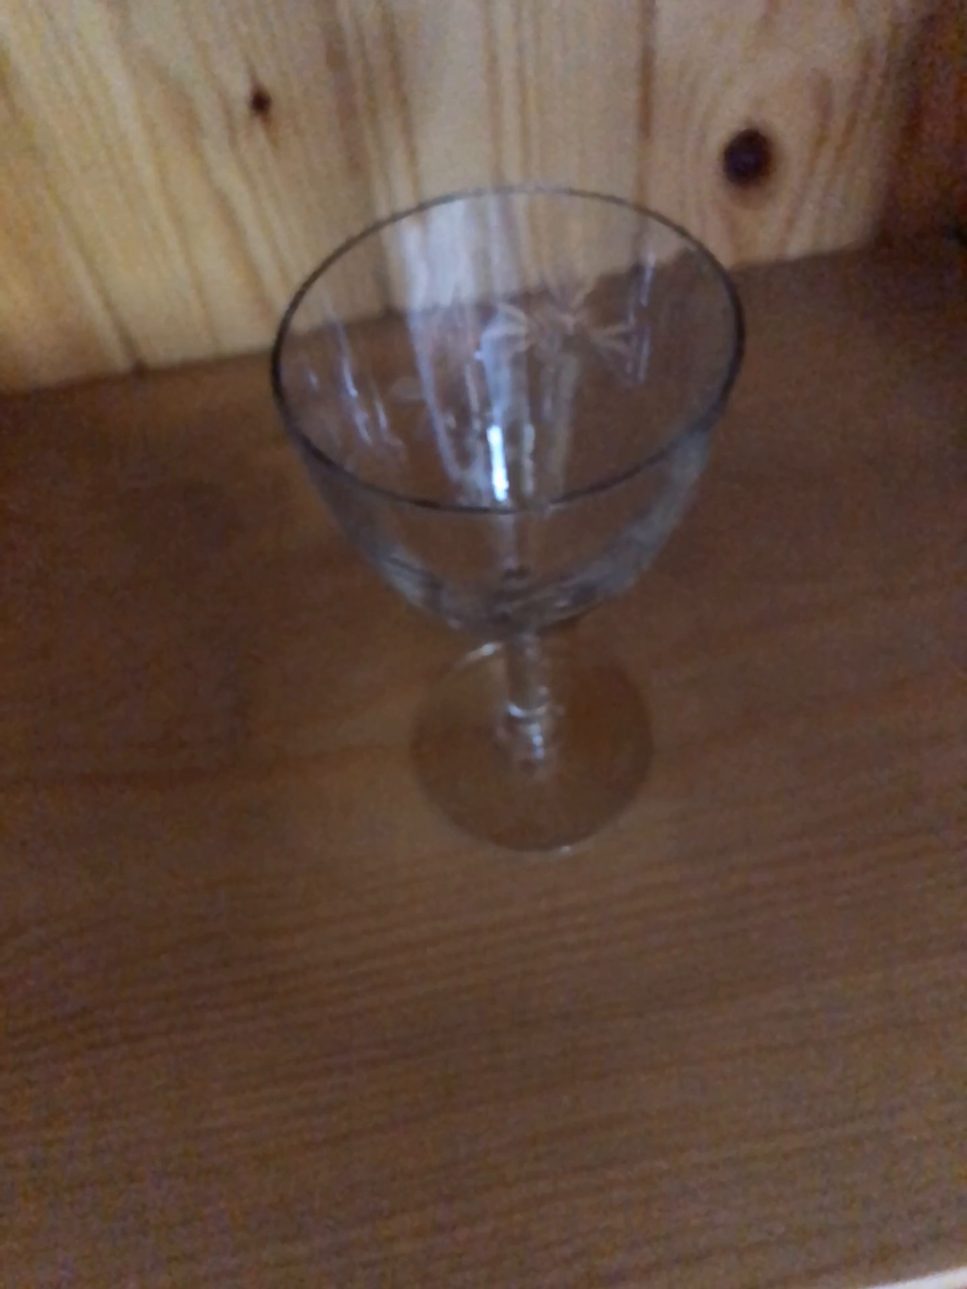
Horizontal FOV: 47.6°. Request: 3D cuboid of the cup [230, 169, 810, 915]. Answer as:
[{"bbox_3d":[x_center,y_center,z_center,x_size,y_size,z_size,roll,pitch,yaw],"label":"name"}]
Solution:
[{"bbox_3d":[0.011,-0.006,0.210,0.070,0.140,0.070,-2,58,4],"label":"cup"}]
